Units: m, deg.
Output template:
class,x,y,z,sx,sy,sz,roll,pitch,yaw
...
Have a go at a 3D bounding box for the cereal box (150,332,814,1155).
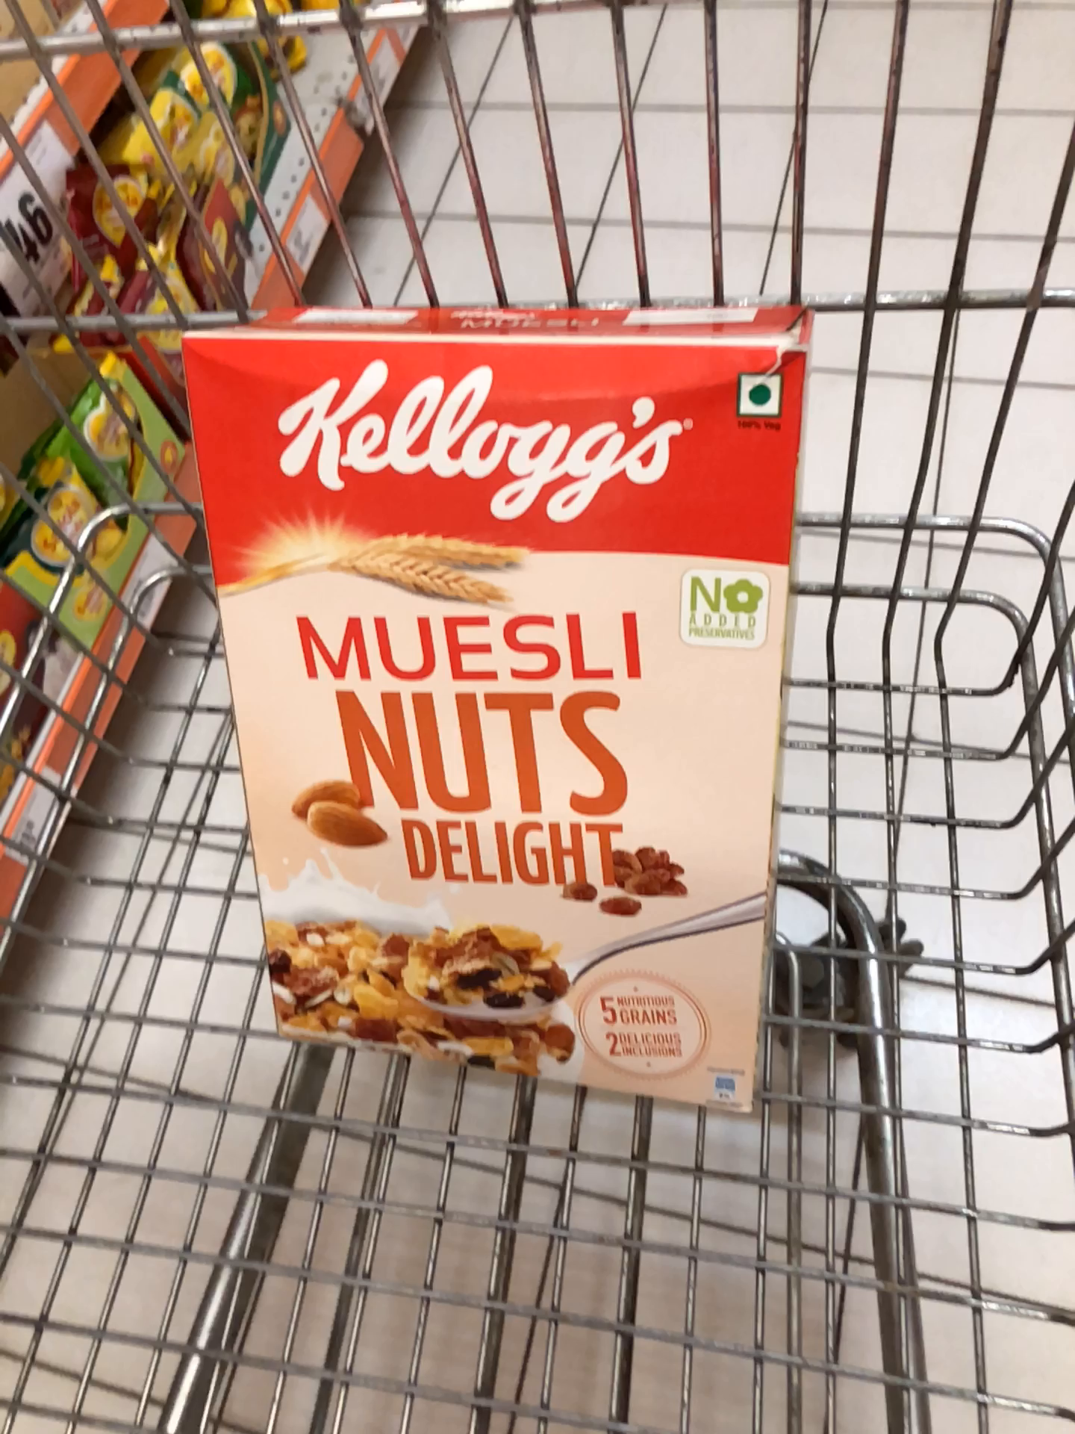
class,x,y,z,sx,sy,sz,roll,pitch,yaw
cereal box,-0.012,0.008,0.396,0.180,0.249,0.070,6,25,14
